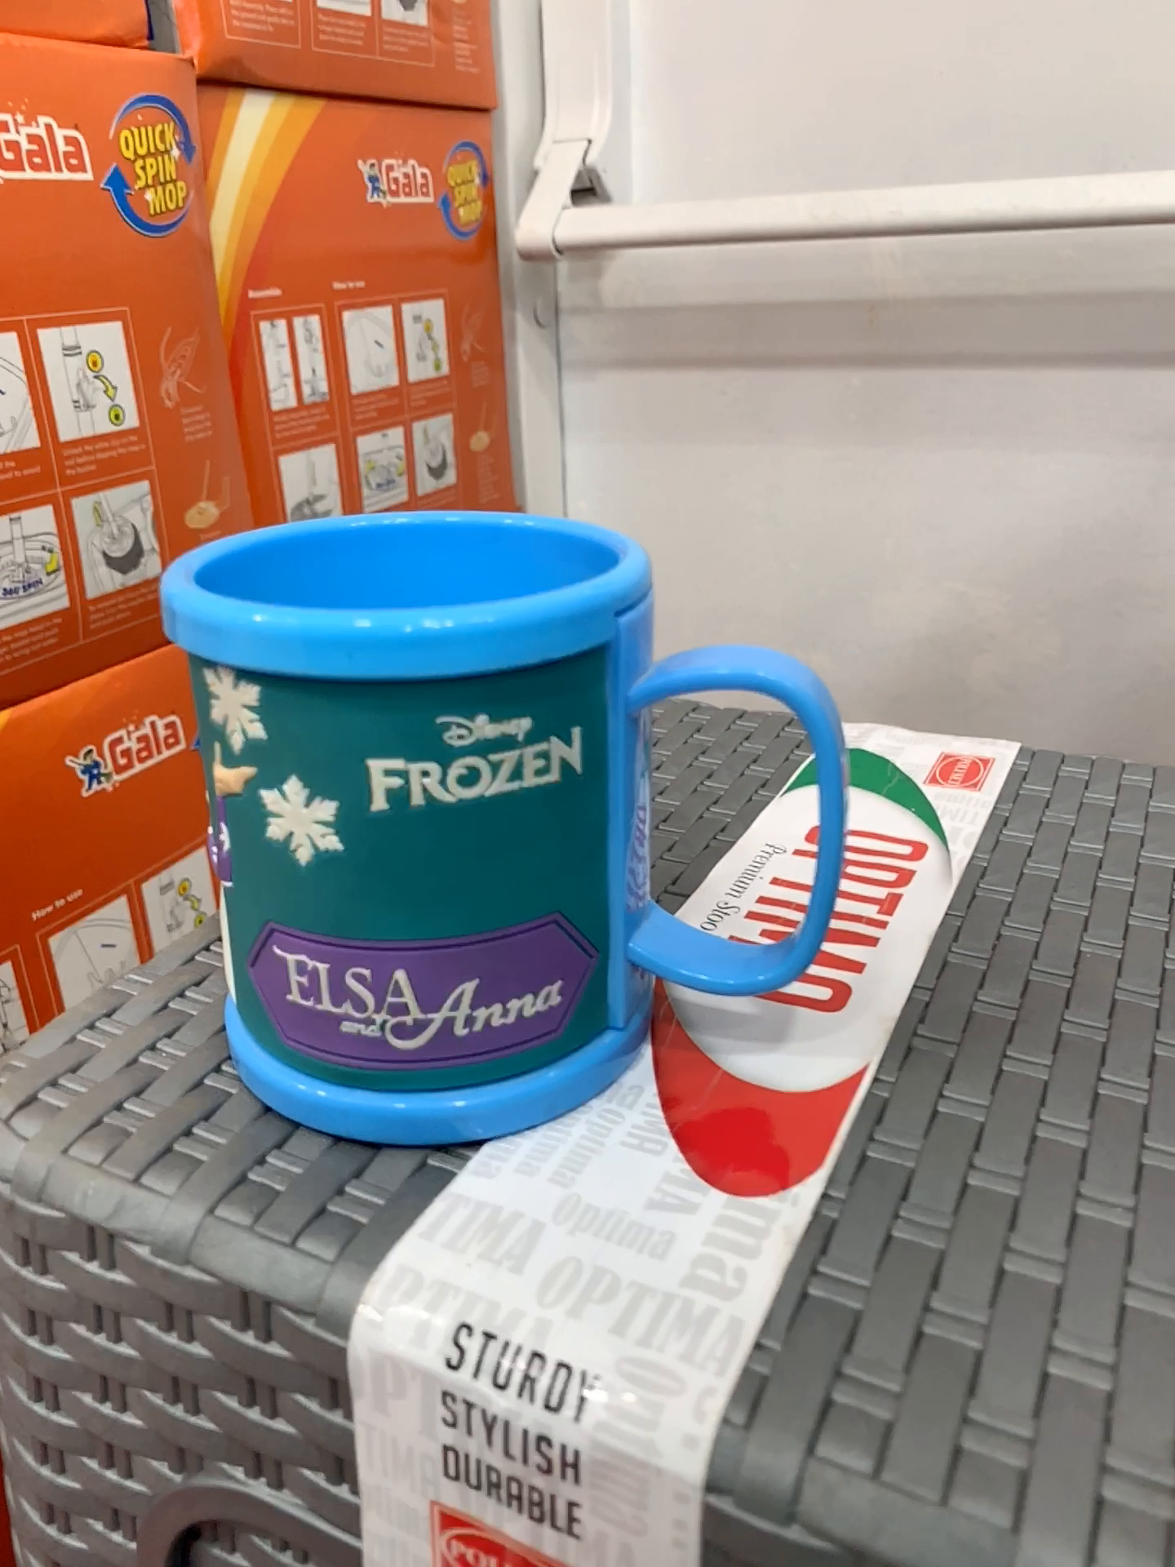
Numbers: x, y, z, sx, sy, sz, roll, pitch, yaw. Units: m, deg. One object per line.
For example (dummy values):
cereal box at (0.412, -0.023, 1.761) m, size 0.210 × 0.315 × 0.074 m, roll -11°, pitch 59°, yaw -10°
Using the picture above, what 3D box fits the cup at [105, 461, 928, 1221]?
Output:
cup at (-0.003, 0.001, 0.211) m, size 0.110 × 0.099 × 0.081 m, roll 3°, pitch 23°, yaw 12°
